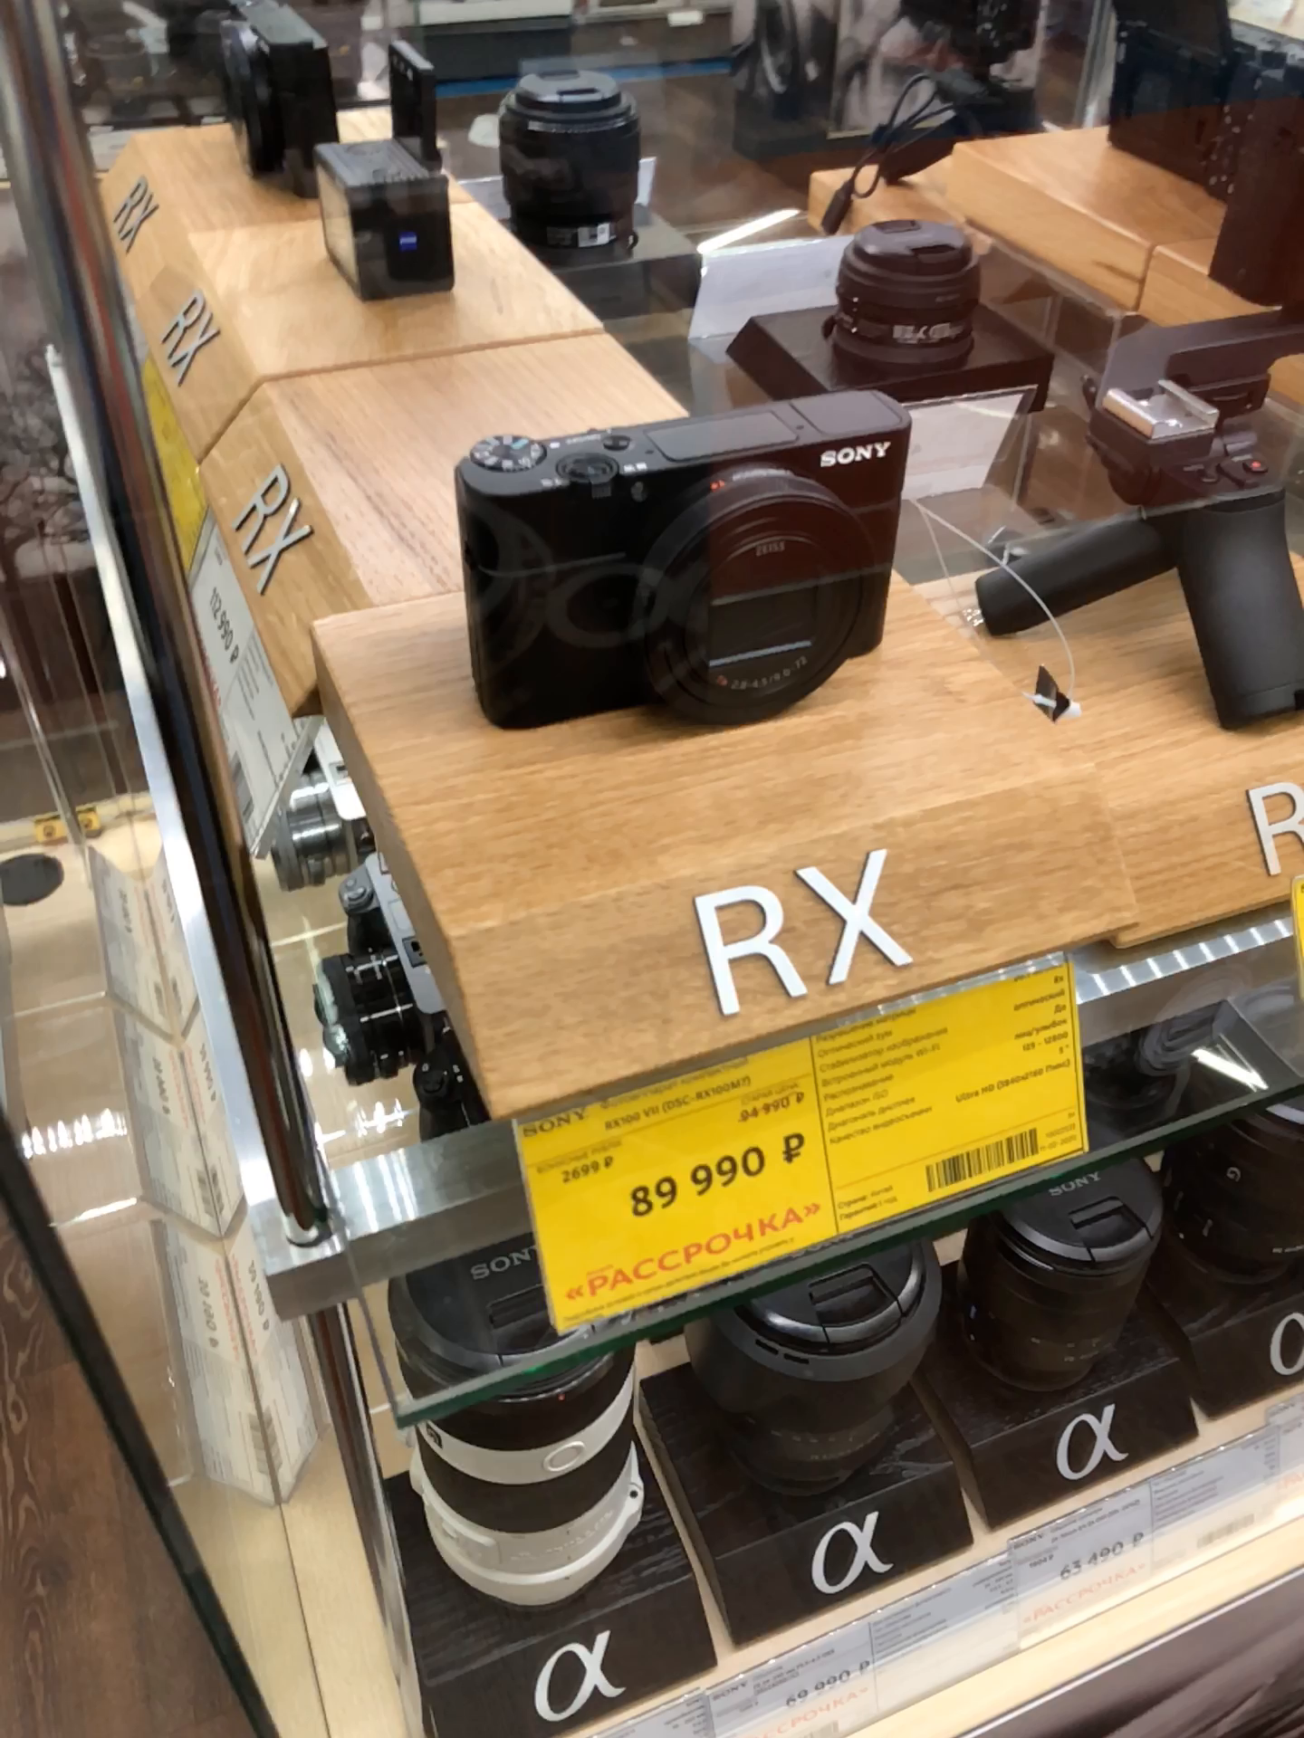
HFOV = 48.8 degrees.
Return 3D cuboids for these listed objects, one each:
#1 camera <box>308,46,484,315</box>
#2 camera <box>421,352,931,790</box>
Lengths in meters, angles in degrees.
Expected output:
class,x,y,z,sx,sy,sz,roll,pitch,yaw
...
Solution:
class,x,y,z,sx,sy,sz,roll,pitch,yaw
camera,-0.088,-0.239,0.498,0.040,0.070,0.052,-16,44,-18
camera,0.005,-0.069,0.326,0.100,0.070,0.040,-15,43,-17
